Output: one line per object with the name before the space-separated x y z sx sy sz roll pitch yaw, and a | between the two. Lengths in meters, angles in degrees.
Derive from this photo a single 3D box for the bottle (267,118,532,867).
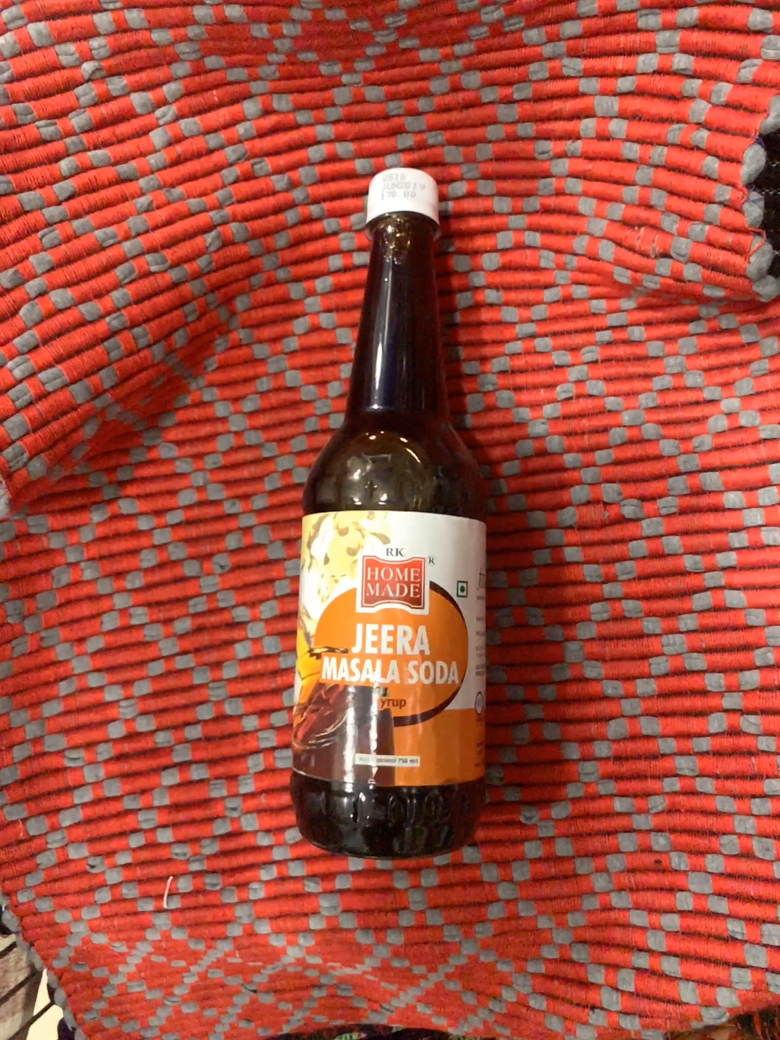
bottle | 0.007 -0.014 0.312 0.080 0.070 0.260 3 80 0
